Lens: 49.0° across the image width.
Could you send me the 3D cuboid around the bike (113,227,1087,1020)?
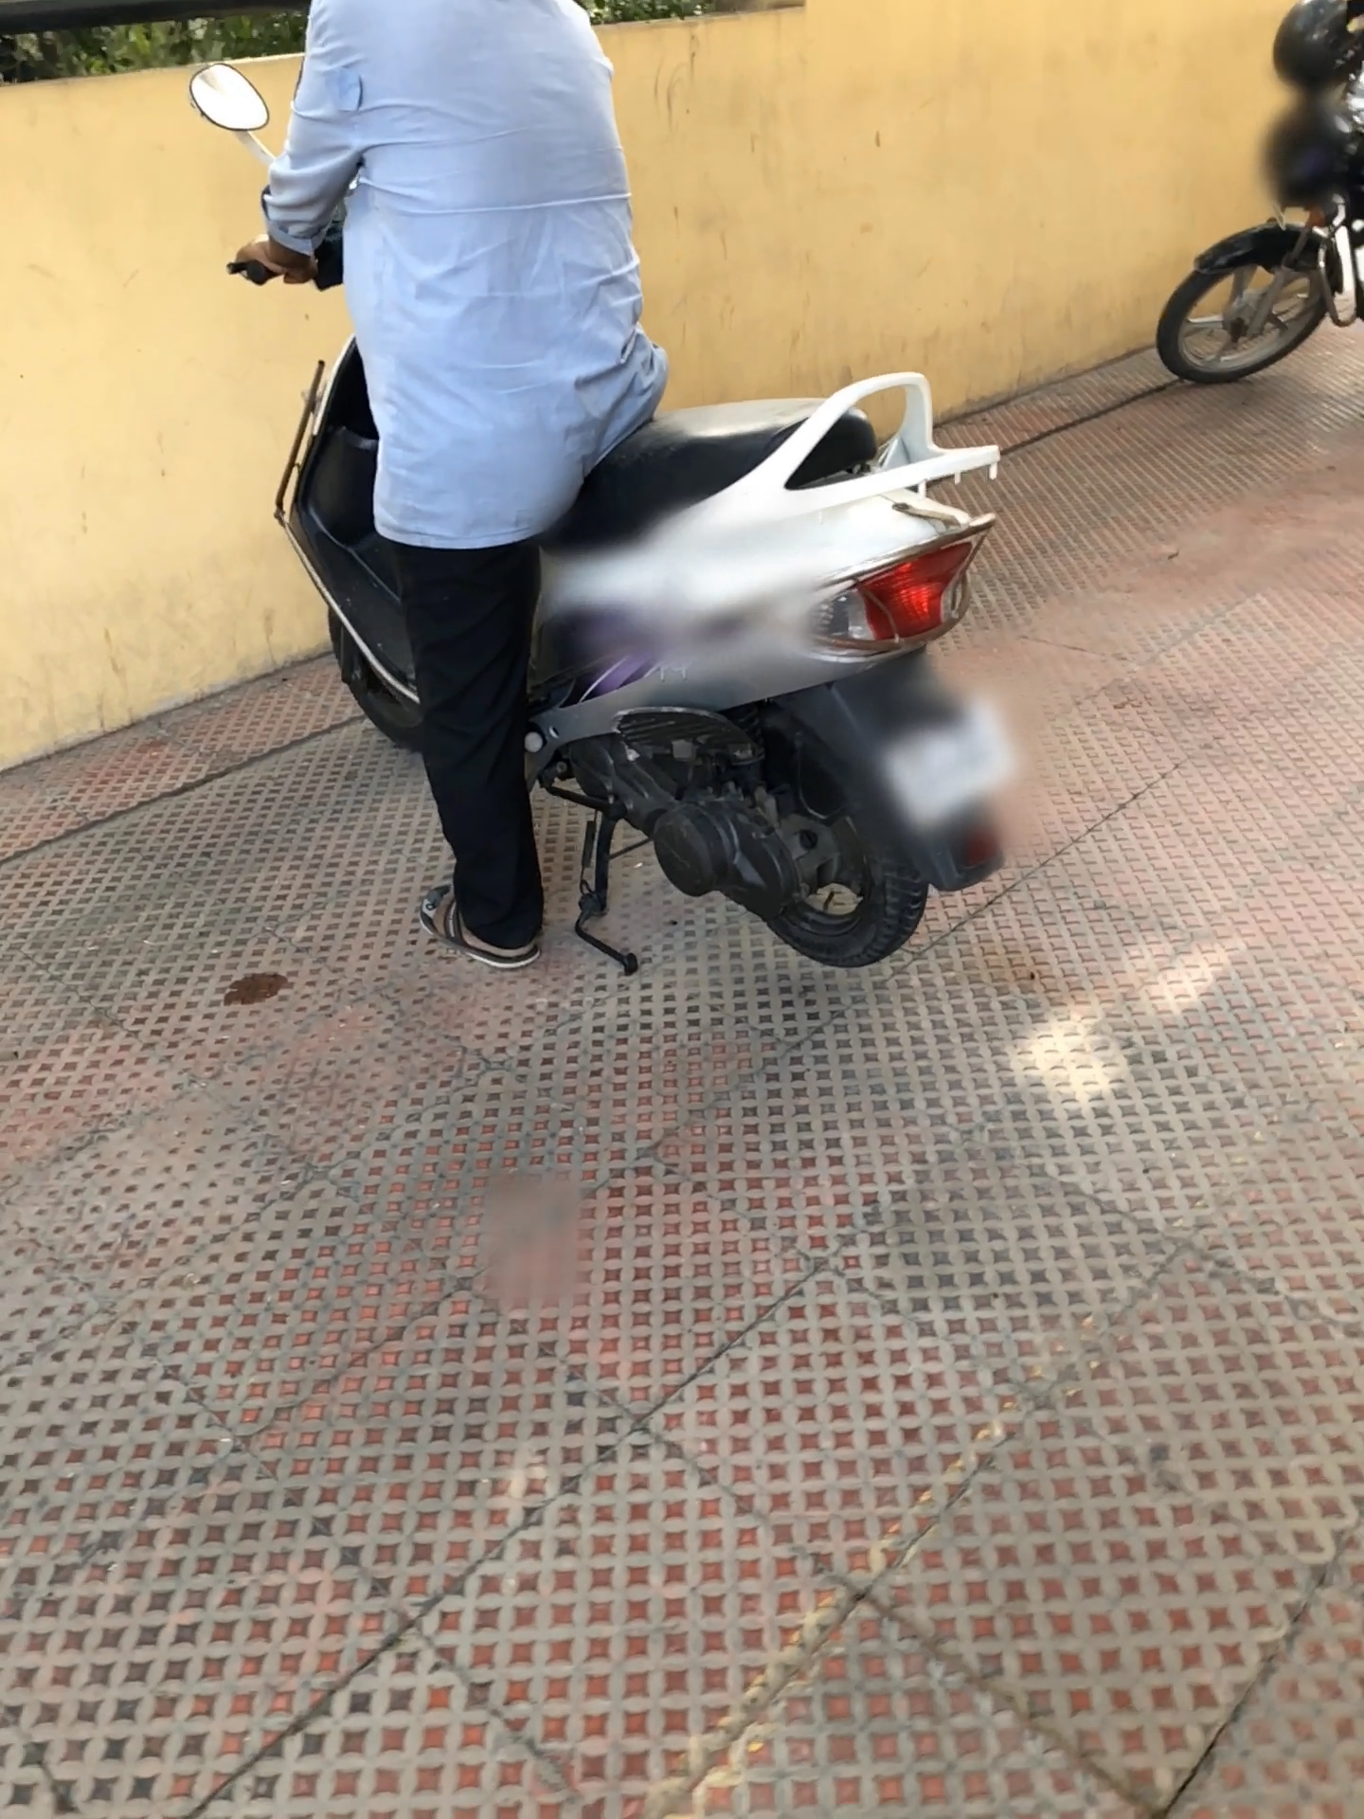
[{"bbox_3d":[-0.226,-0.595,2.416,0.601,0.816,1.613,-26,36,-31],"label":"bike"}]
